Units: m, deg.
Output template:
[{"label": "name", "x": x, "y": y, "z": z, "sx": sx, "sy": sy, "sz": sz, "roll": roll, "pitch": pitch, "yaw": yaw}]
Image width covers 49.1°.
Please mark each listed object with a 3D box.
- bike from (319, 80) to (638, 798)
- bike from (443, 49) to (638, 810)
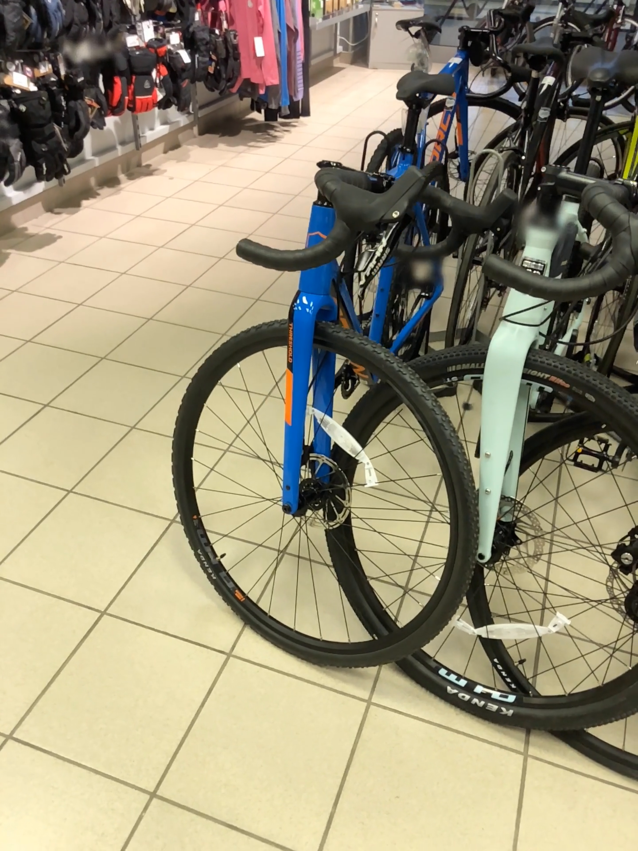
[{"label": "bike", "x": 0.338, "y": -0.163, "z": 1.749, "sx": 0.524, "sy": 0.805, "sz": 1.478, "roll": 5, "pitch": 41, "yaw": 6}, {"label": "bike", "x": 0.679, "y": -0.209, "z": 1.583, "sx": 0.616, "sy": 0.870, "sz": 1.429, "roll": 6, "pitch": 37, "yaw": 6}]
